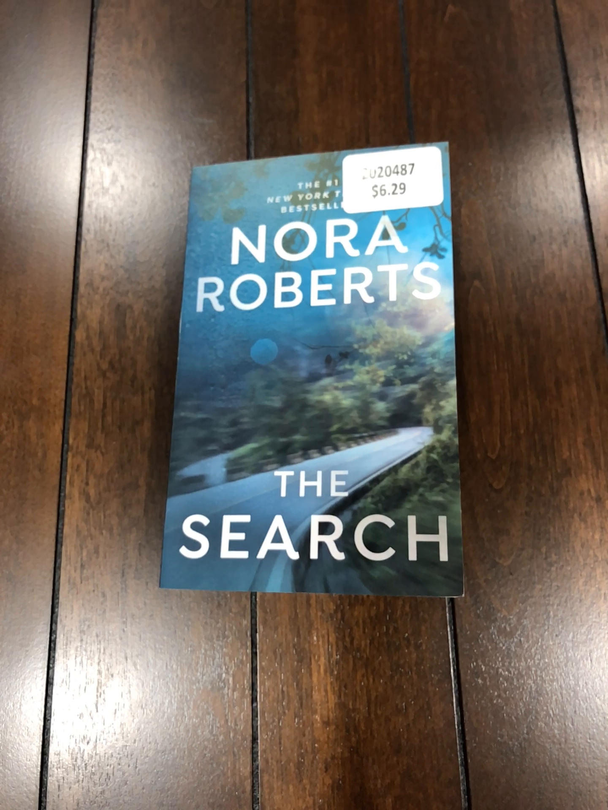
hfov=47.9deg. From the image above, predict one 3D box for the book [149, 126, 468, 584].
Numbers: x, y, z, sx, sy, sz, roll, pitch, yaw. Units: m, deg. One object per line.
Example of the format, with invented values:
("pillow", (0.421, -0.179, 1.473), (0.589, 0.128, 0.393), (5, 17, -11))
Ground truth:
("book", (0.007, -0.018, 0.274), (0.108, 0.050, 0.170), (-1, 74, 10))
